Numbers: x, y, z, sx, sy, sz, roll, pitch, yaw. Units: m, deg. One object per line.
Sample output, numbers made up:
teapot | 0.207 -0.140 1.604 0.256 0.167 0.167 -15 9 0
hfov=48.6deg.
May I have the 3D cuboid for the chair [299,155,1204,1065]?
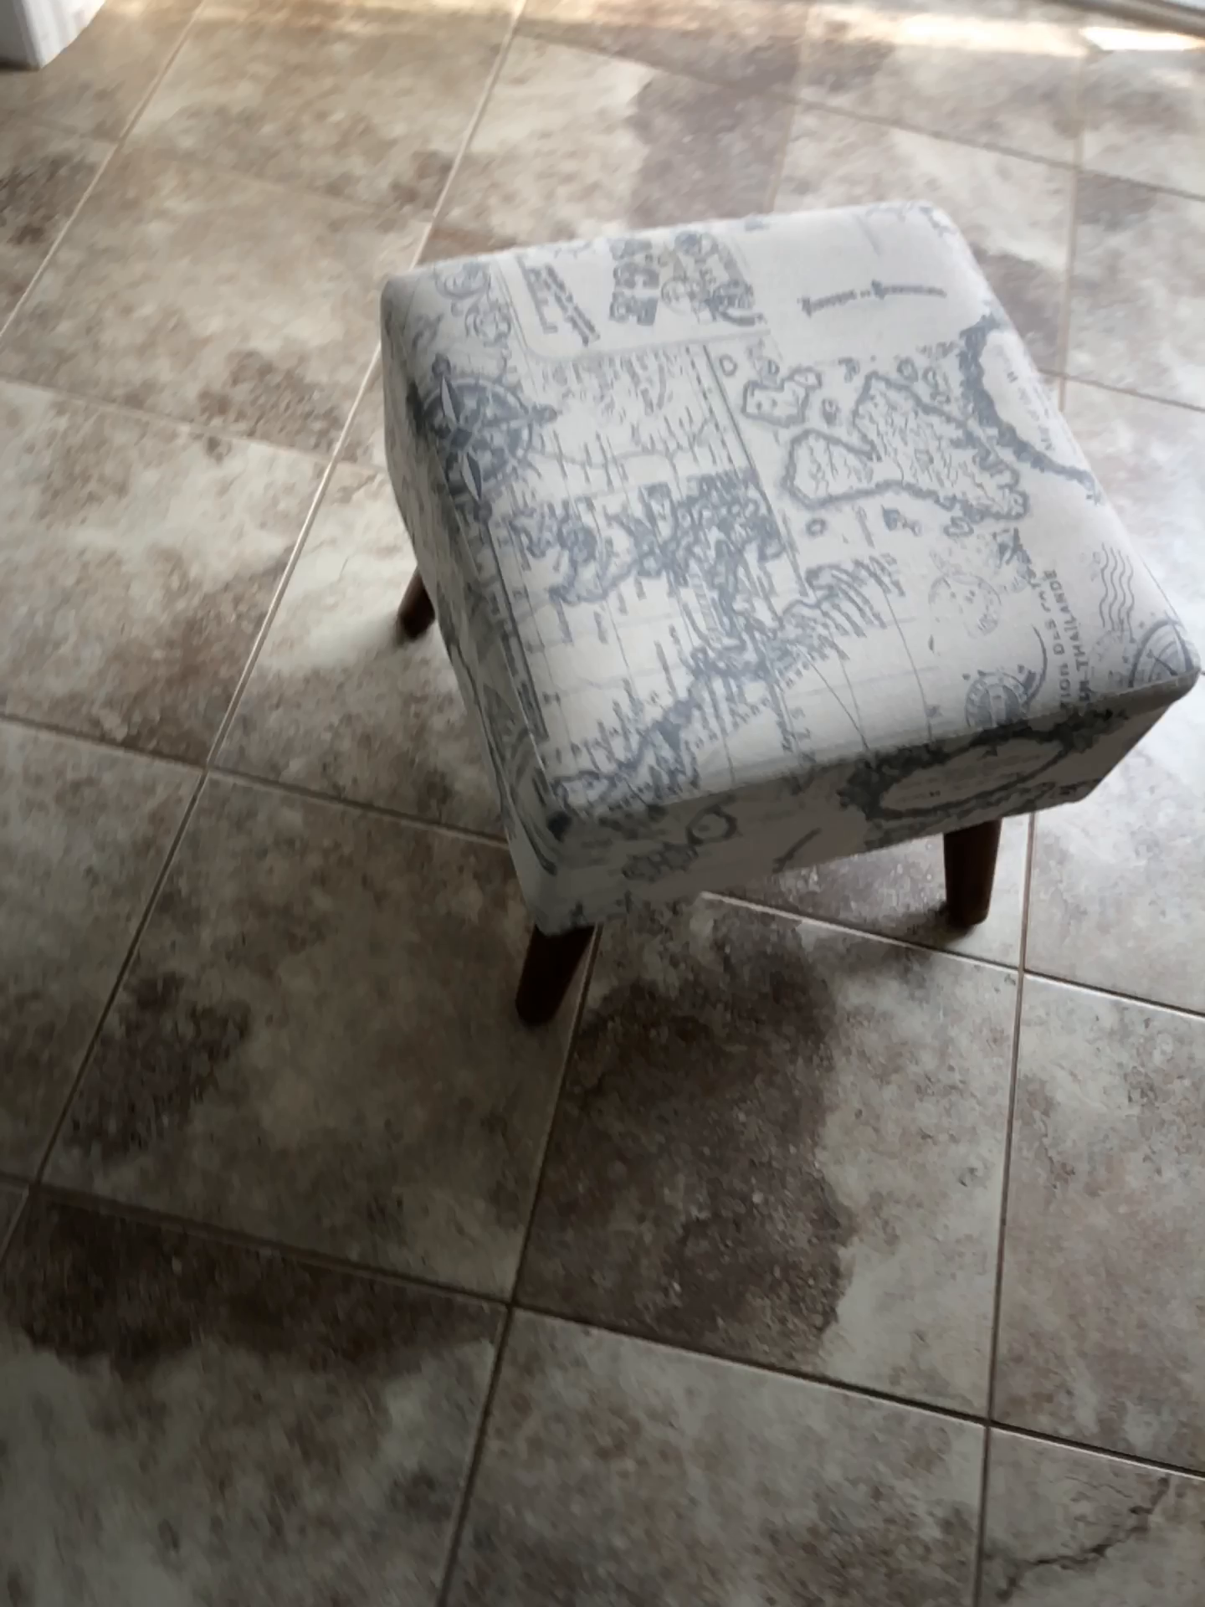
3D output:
chair | 0.089 -0.130 0.898 0.470 0.320 0.420 -13 65 -13
